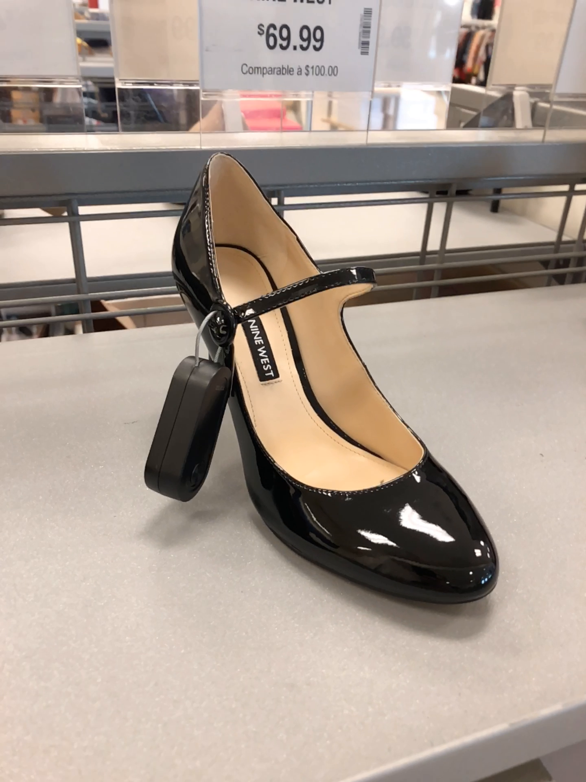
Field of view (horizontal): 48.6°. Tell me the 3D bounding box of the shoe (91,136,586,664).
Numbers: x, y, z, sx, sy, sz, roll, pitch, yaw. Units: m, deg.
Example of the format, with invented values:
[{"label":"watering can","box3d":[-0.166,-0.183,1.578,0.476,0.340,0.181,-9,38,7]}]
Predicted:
[{"label":"shoe","box3d":[-0.002,-0.025,0.331,0.090,0.151,0.257,-19,37,-33]}]
